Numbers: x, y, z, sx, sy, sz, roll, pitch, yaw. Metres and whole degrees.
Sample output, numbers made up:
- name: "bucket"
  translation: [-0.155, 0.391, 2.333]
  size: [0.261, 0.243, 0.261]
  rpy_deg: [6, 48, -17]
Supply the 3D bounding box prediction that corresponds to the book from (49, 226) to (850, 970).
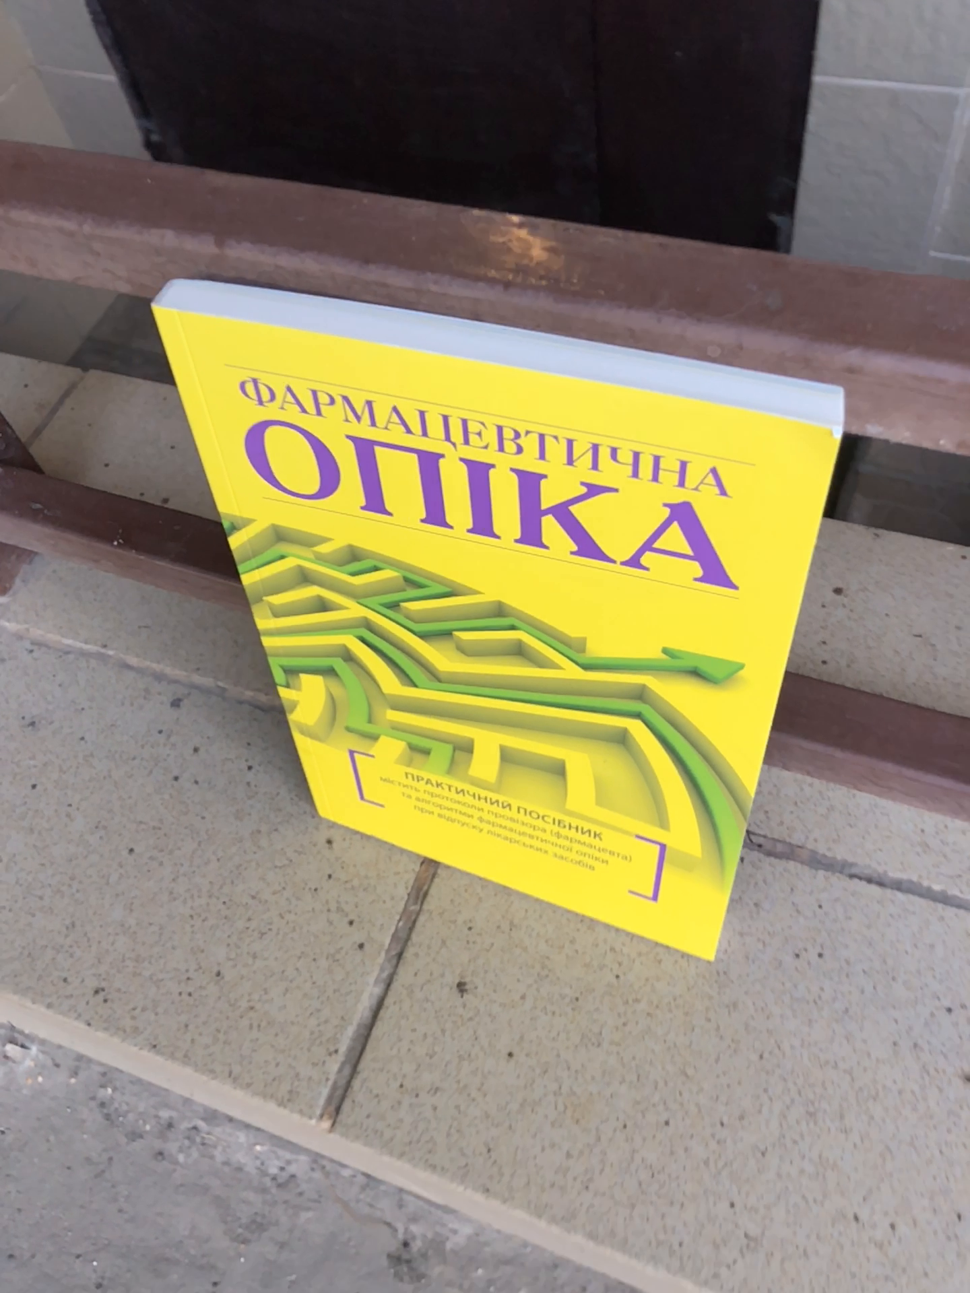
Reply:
- name: "book"
  translation: [-0.006, 0.005, 0.327]
  size: [0.180, 0.239, 0.030]
  rpy_deg: [16, 54, 18]
